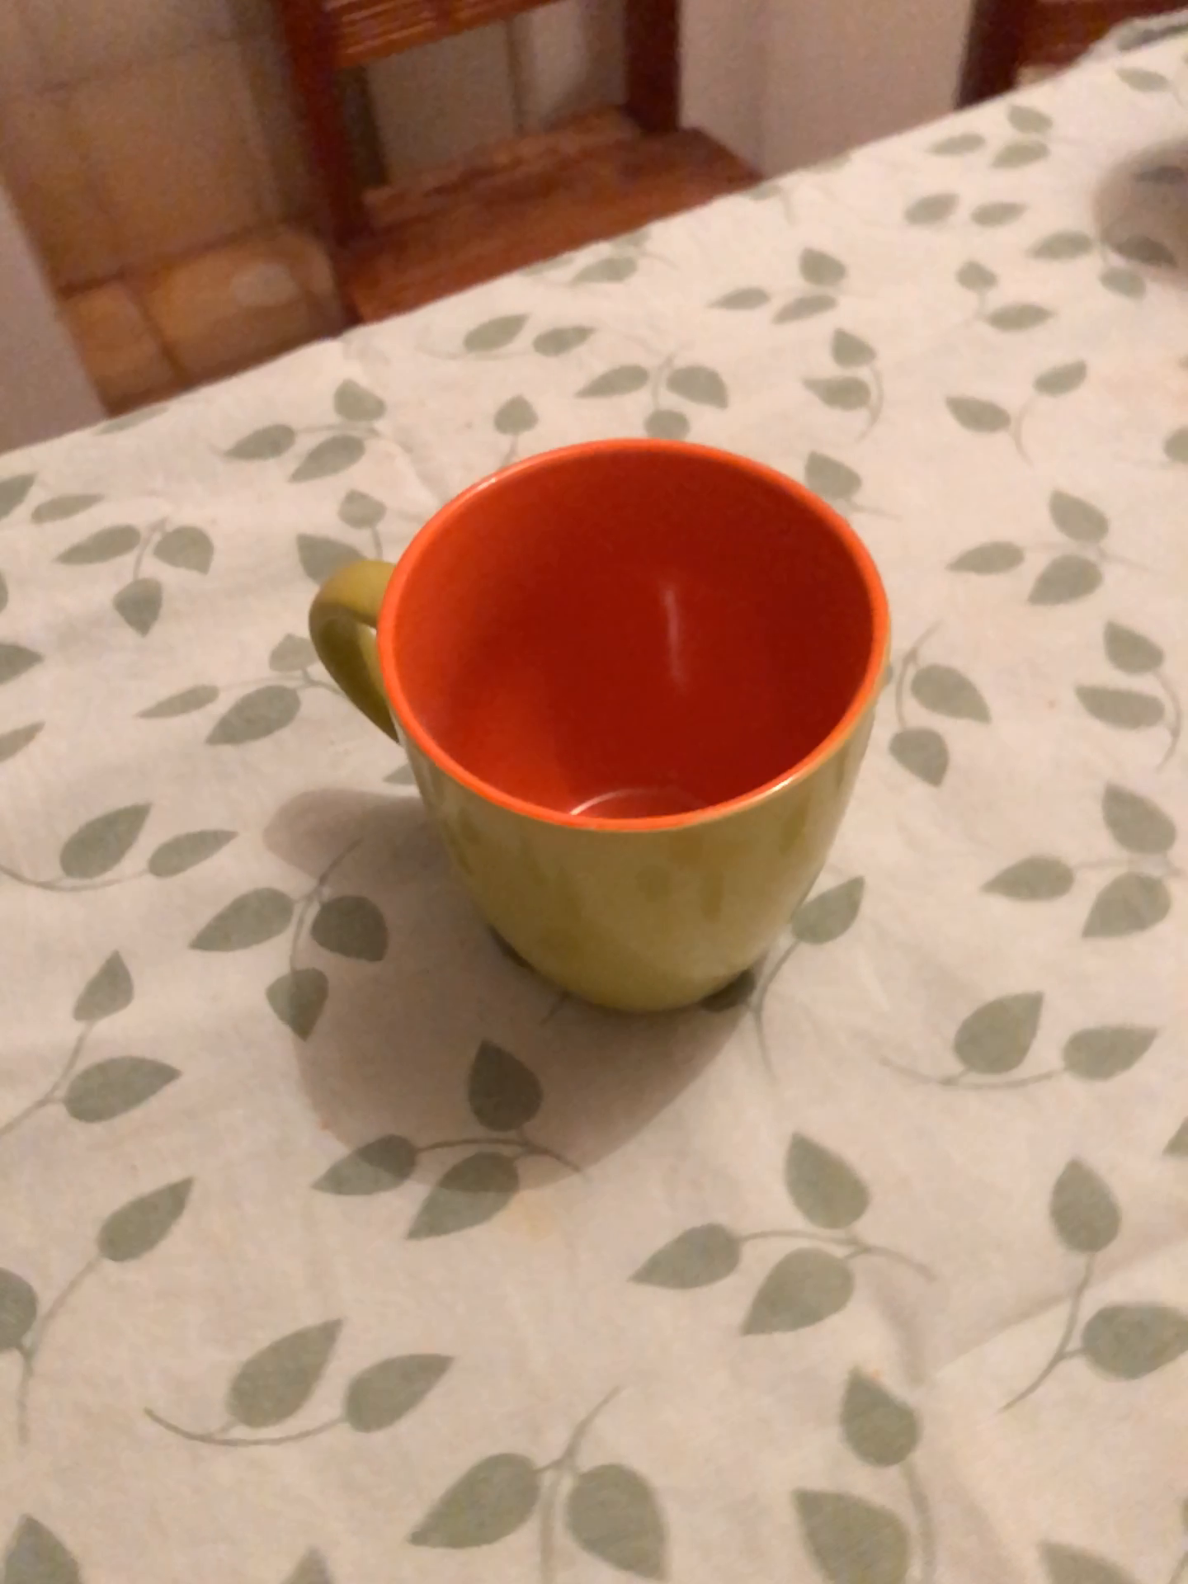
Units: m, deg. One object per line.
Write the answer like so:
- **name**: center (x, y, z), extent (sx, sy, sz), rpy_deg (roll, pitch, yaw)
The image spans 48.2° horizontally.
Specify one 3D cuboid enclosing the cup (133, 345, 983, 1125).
- **cup**: center (-0.002, -0.011, 0.264), extent (0.120, 0.090, 0.090), rpy_deg (18, 59, 14)
